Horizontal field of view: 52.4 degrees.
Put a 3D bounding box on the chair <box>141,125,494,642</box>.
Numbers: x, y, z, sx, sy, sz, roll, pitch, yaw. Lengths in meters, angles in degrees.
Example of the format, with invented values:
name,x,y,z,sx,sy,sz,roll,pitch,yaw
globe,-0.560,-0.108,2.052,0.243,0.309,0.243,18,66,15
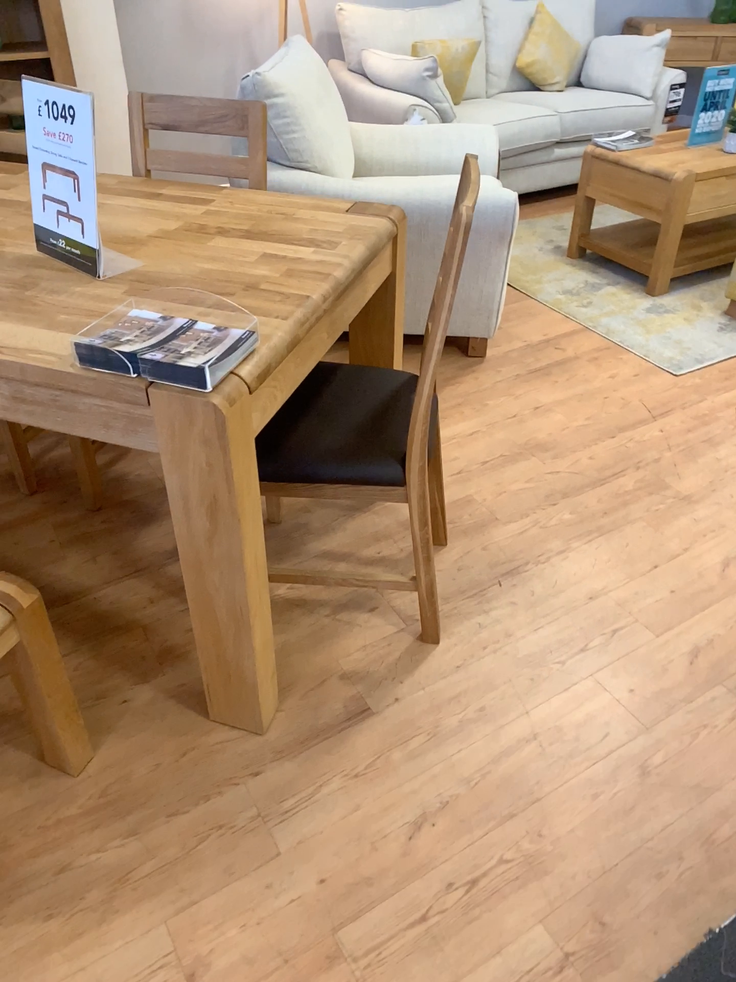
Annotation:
name,x,y,z,sx,sy,sz,roll,pitch,yaw
chair,-0.055,-0.193,1.532,0.517,0.917,0.425,6,37,7
